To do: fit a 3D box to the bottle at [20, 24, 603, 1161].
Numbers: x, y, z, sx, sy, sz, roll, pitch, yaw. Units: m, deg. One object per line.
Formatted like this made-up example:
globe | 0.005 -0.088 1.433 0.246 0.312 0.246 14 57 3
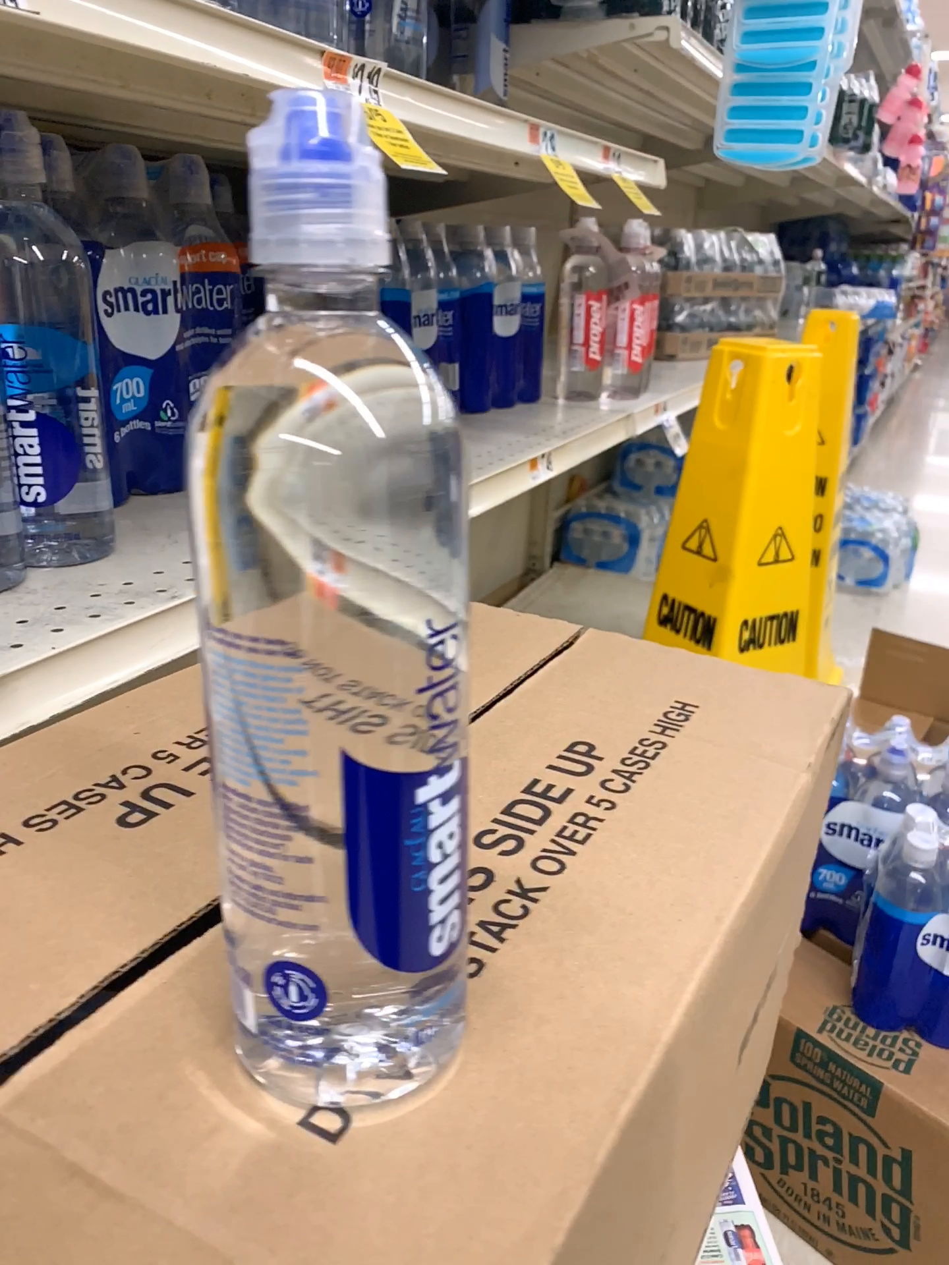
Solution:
bottle | -0.038 -0.006 0.260 0.090 0.249 0.090 3 21 -1
